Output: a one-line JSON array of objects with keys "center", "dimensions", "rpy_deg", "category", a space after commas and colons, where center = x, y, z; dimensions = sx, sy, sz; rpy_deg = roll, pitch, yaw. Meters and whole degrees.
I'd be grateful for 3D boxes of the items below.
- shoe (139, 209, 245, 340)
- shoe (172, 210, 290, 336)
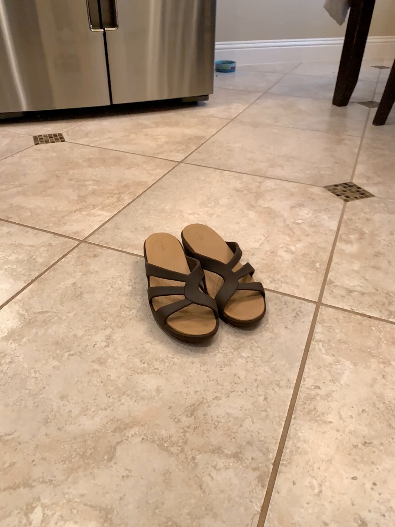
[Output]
[{"center": [-0.022, 0.006, 0.745], "dimensions": [0.110, 0.092, 0.260], "rpy_deg": [-10, 36, -17], "category": "shoe"}, {"center": [0.049, 0.004, 0.784], "dimensions": [0.110, 0.092, 0.265], "rpy_deg": [-13, 37, -21], "category": "shoe"}]
